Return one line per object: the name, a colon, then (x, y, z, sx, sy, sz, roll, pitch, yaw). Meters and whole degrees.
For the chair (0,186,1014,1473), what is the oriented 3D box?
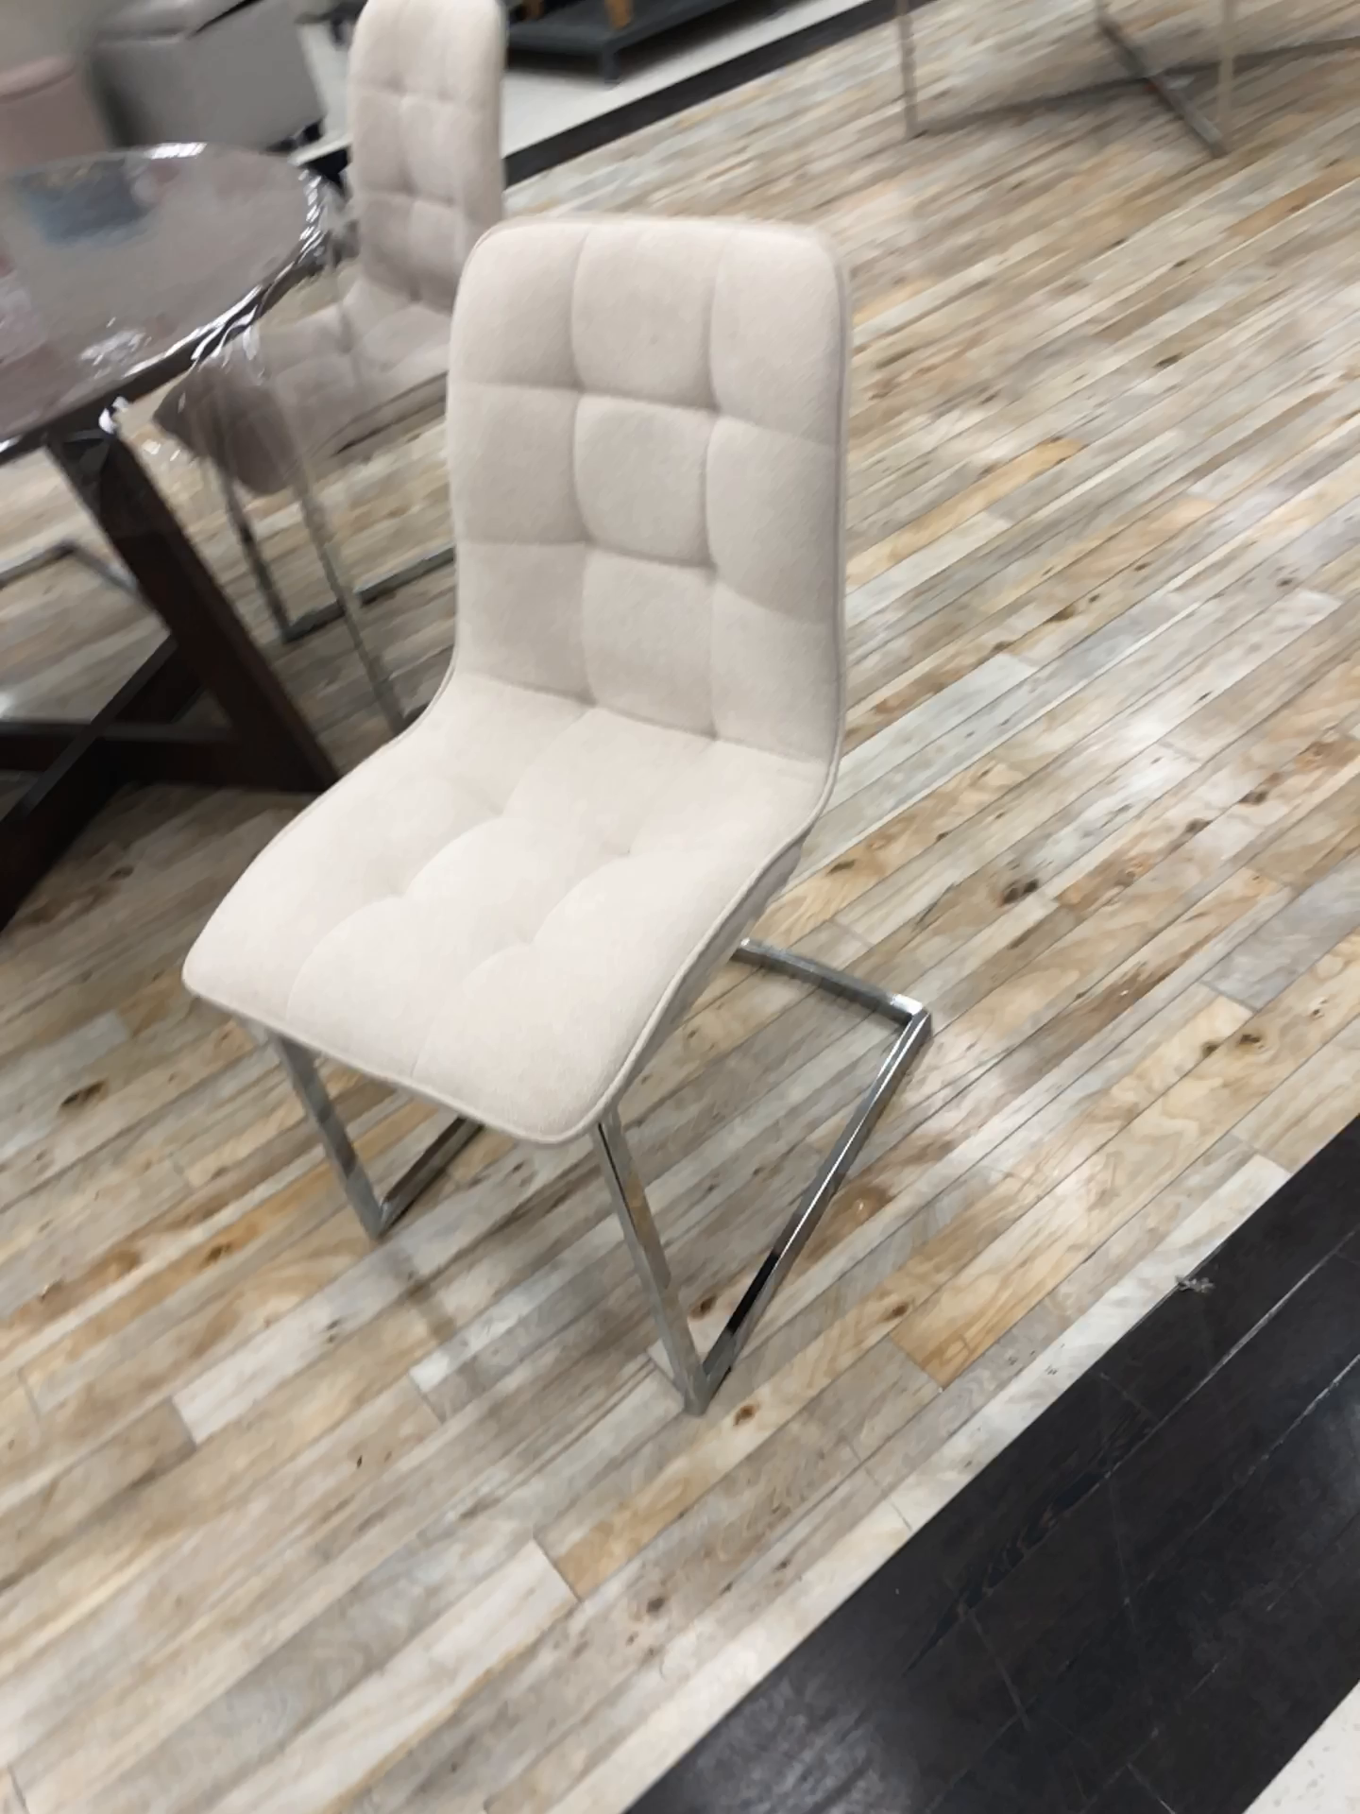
chair: (-0.091, -0.075, 1.297, 0.491, 0.837, 0.591, 19, 51, 33)
